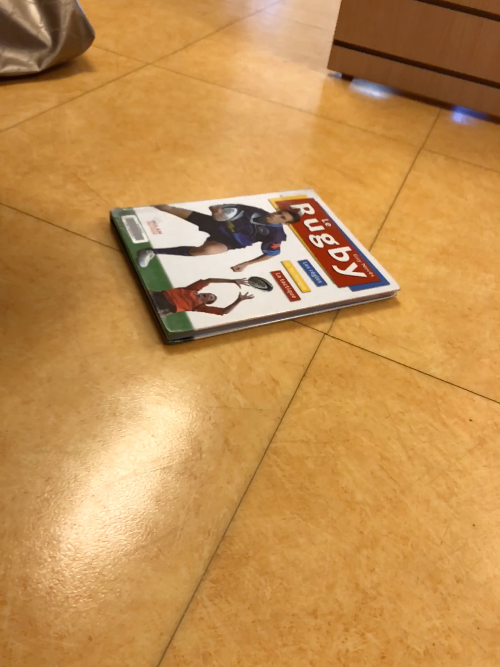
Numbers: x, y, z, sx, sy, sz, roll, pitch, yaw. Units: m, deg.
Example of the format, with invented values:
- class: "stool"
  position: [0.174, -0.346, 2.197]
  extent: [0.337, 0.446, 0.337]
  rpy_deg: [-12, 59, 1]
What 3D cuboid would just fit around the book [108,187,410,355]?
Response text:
- class: "book"
  position: [0.004, -0.083, 0.586]
  extent: [0.261, 0.024, 0.203]
  rpy_deg: [-12, 48, -23]
